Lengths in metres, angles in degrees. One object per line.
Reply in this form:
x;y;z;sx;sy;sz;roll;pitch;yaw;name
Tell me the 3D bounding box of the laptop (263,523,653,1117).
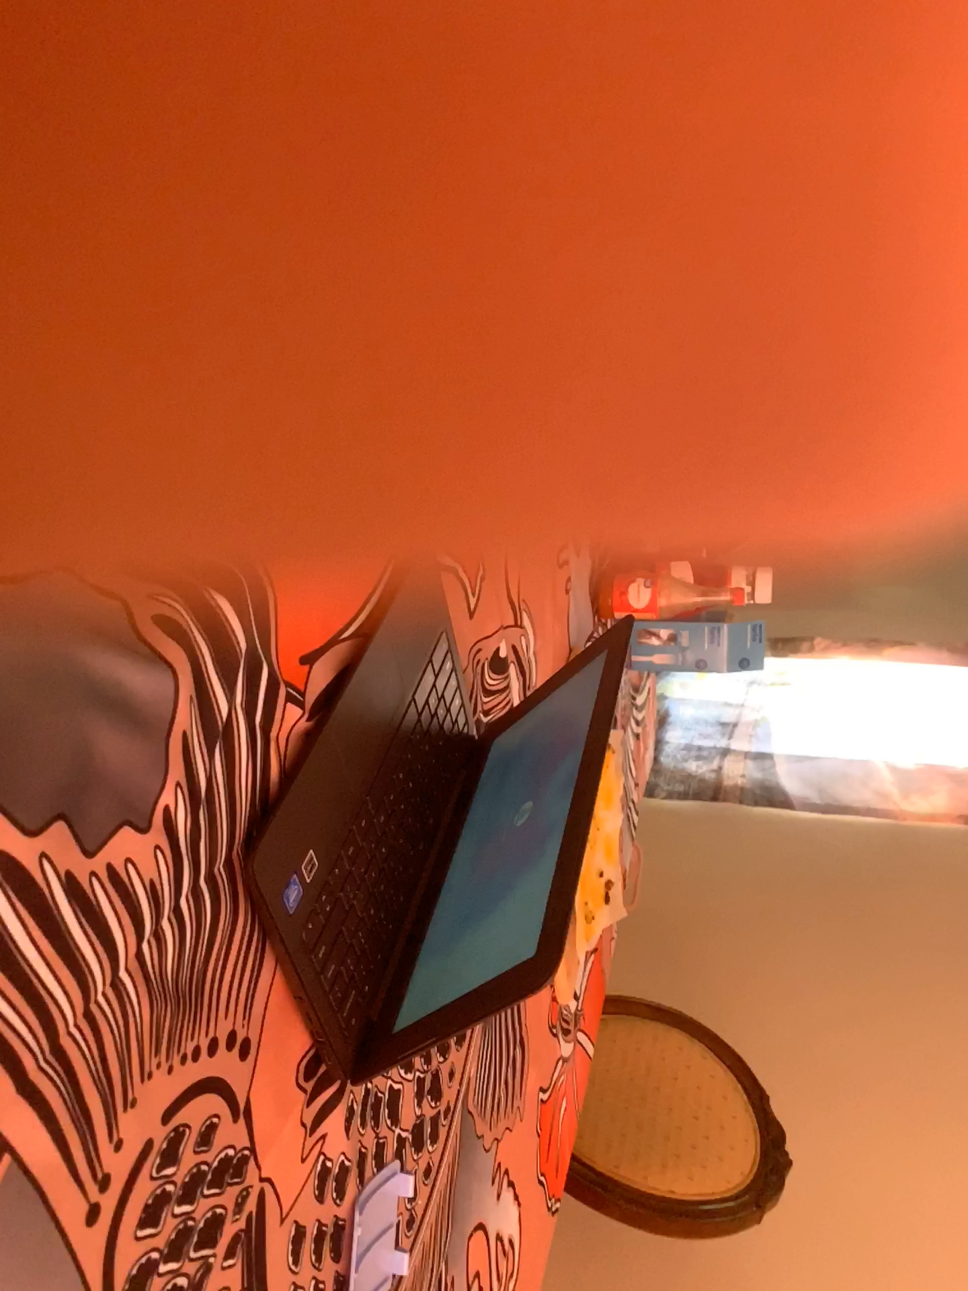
0.014;0.092;0.639;0.300;0.144;0.211;-68;155;-49;laptop
